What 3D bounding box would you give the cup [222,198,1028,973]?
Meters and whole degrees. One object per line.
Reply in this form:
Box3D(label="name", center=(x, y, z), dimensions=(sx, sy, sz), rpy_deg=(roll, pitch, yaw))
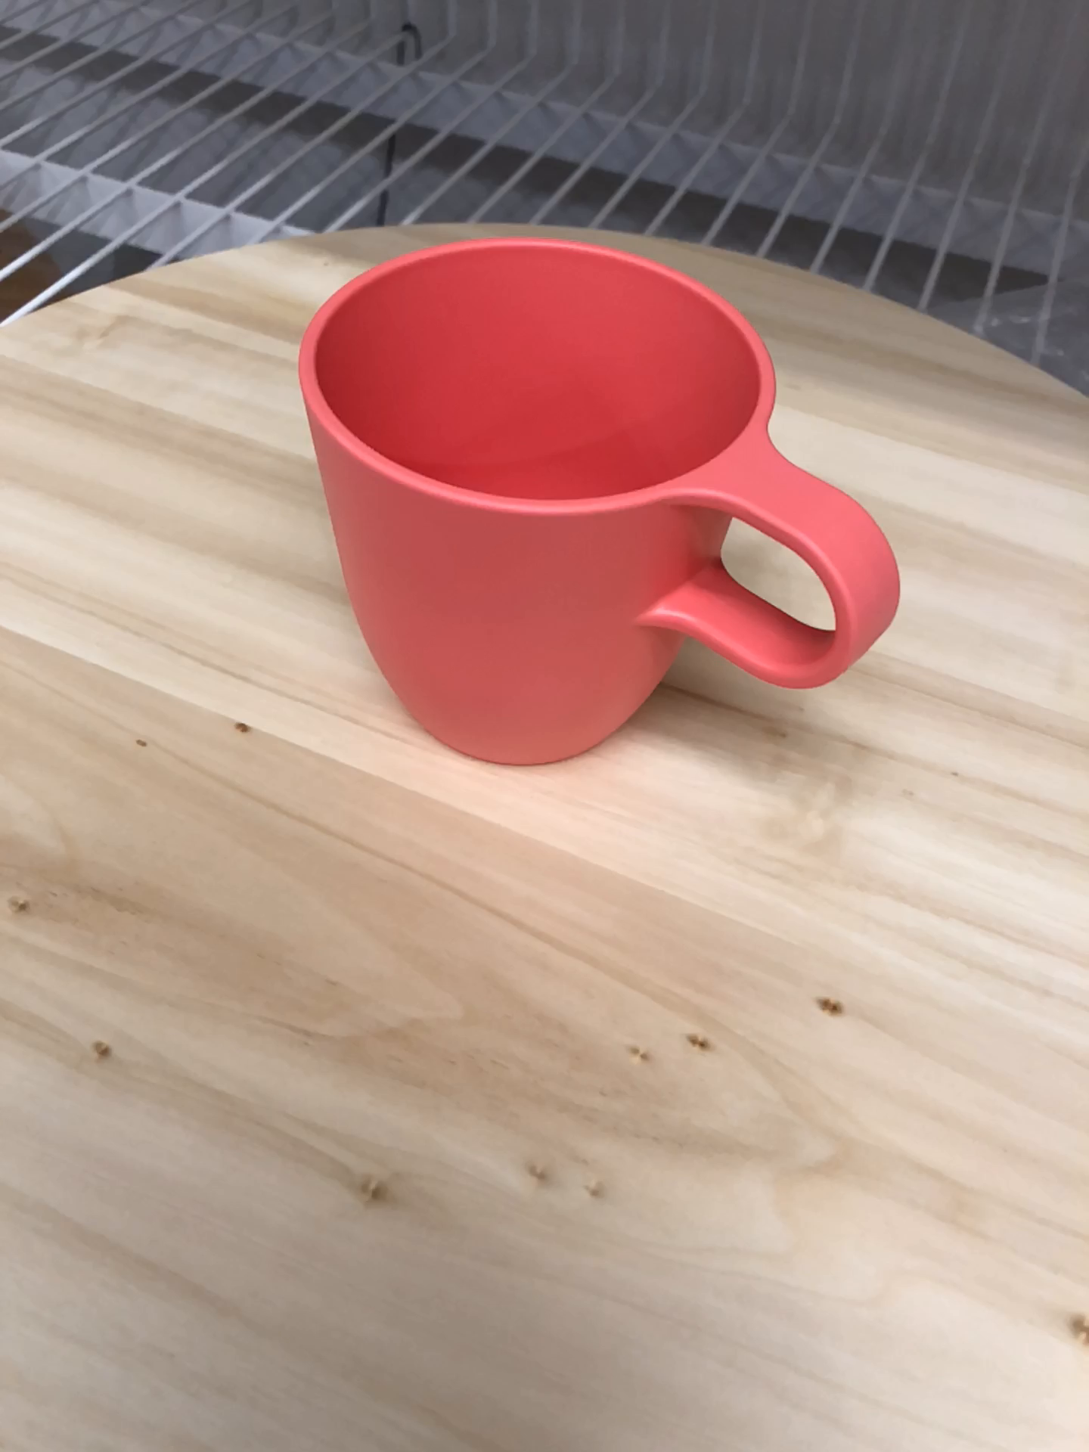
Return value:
Box3D(label="cup", center=(0.011, -0.032, 0.234), dimensions=(0.110, 0.080, 0.080), rpy_deg=(33, 53, 23))
